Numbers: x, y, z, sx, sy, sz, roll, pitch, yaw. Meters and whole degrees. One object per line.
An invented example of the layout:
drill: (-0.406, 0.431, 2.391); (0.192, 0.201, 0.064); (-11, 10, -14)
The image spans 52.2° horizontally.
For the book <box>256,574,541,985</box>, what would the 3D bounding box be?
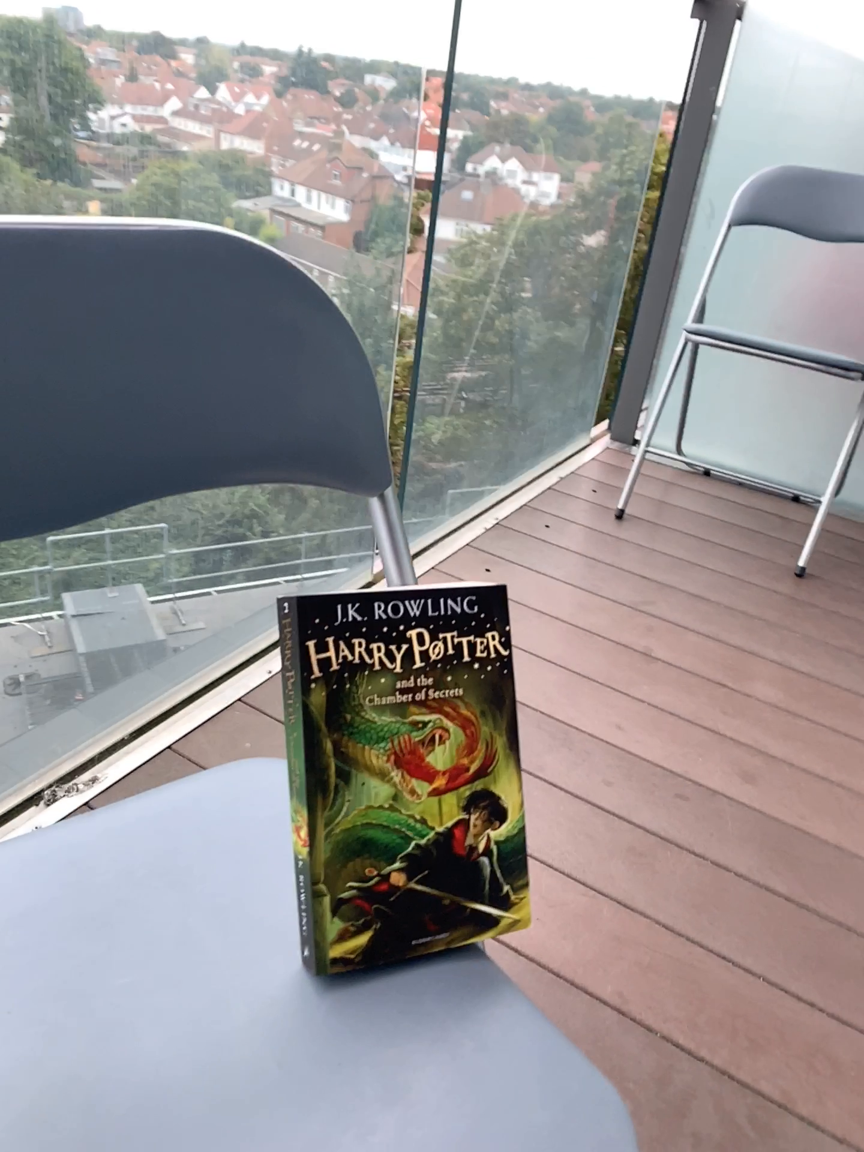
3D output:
book: (-0.017, 0.104, 0.496); (0.140, 0.200, 0.040); (-5, 1, -22)
